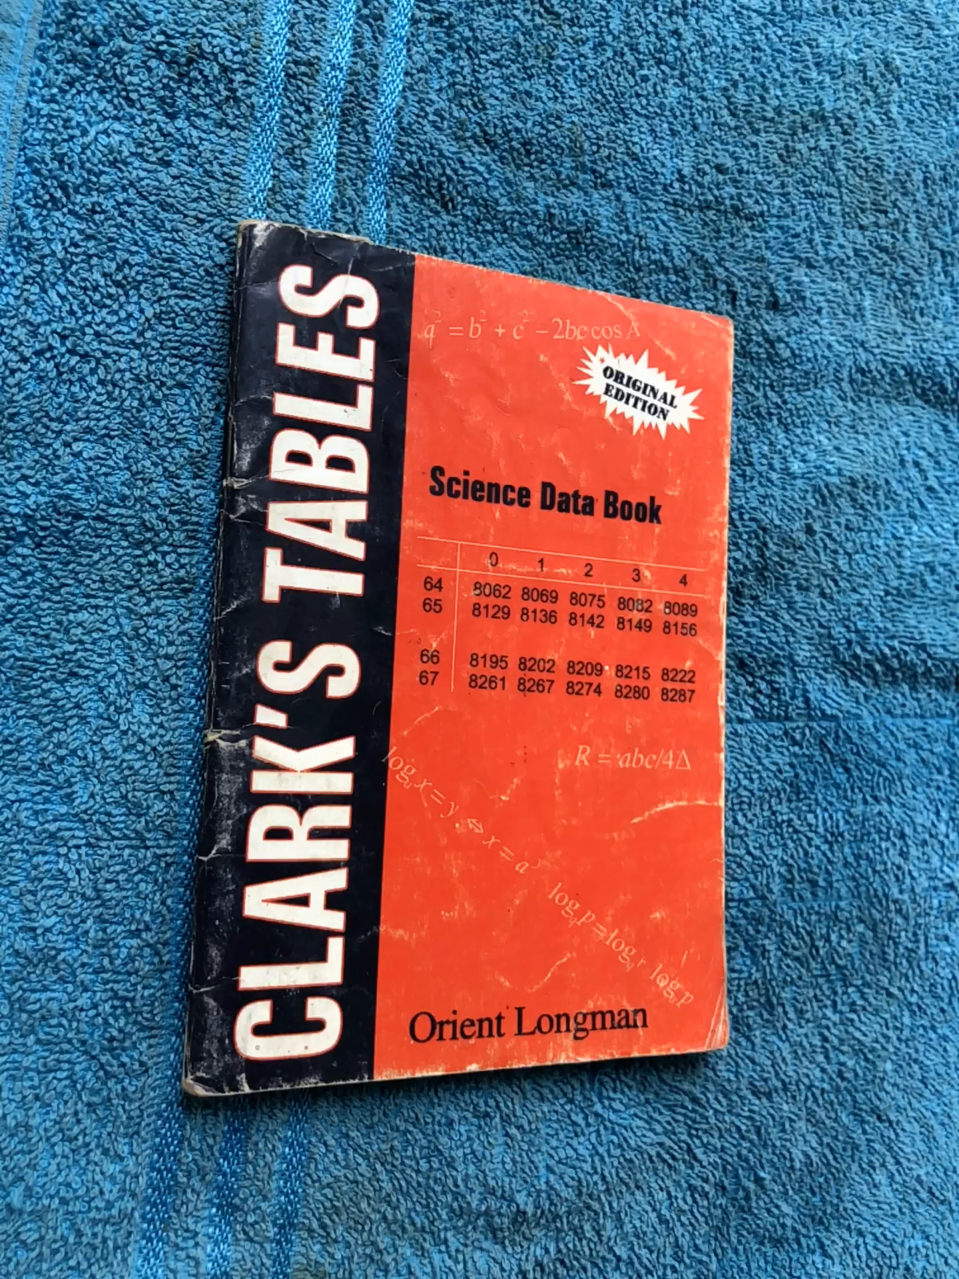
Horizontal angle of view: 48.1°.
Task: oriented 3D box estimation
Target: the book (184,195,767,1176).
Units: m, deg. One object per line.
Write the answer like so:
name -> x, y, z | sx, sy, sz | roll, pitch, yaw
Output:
book -> 0.004, 0.009, 0.234 | 0.120, 0.030, 0.180 | 4, 84, -23
